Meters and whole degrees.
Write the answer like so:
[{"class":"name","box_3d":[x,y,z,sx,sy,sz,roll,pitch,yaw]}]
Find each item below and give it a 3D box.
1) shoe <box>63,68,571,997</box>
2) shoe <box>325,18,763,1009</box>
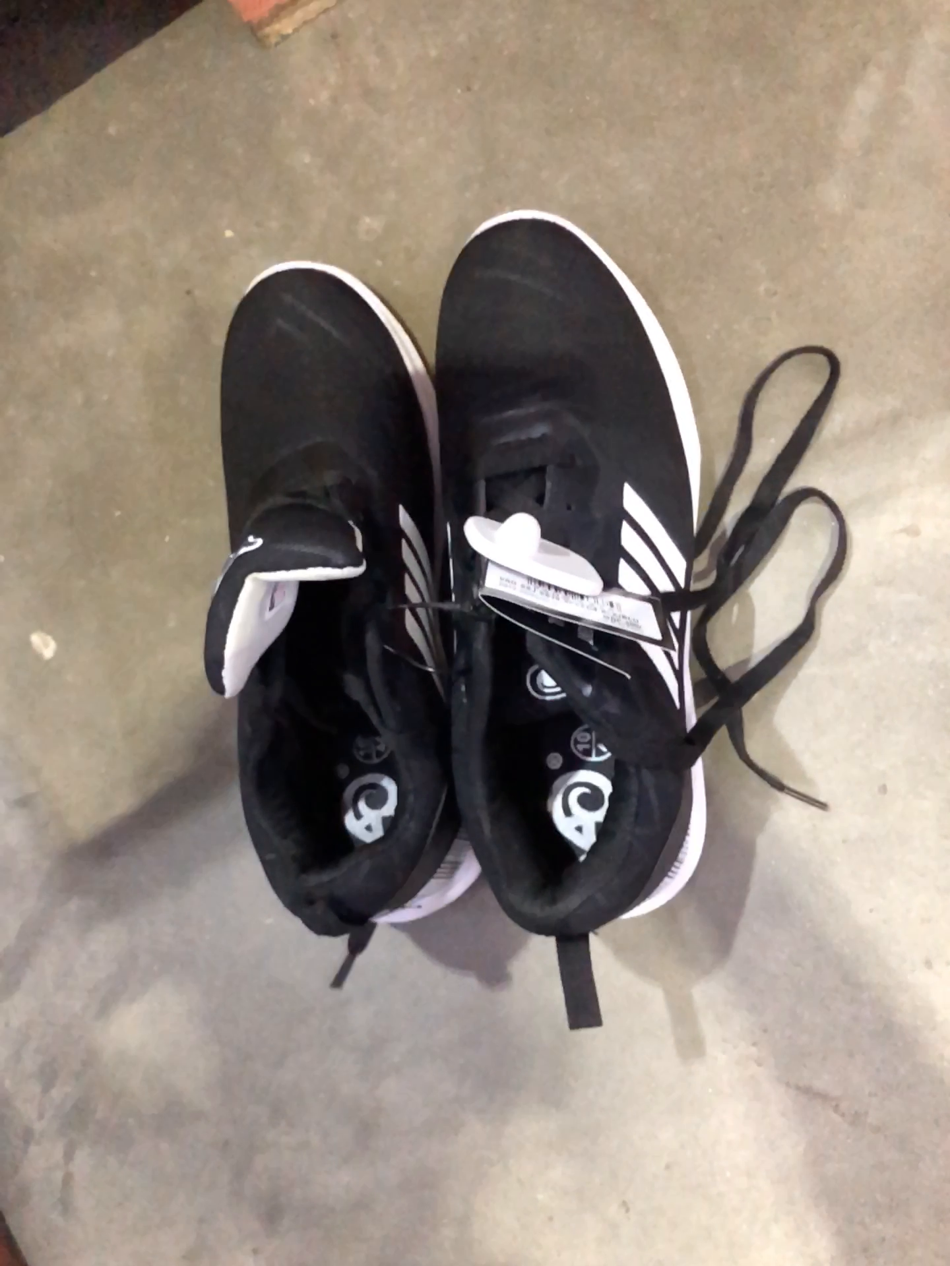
[{"class":"shoe","box_3d":[-0.064,-0.036,0.451,0.120,0.130,0.330,-14,79,15]},{"class":"shoe","box_3d":[0.031,-0.036,0.409,0.110,0.130,0.320,-8,81,16]}]
